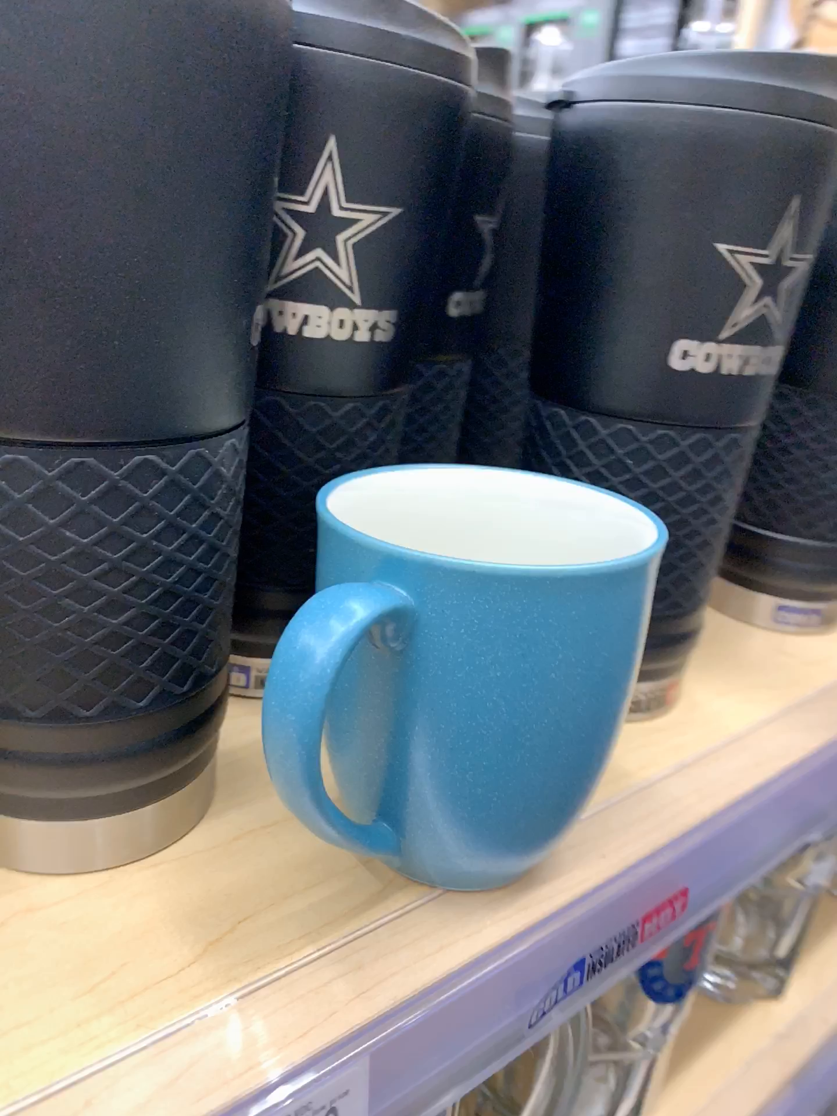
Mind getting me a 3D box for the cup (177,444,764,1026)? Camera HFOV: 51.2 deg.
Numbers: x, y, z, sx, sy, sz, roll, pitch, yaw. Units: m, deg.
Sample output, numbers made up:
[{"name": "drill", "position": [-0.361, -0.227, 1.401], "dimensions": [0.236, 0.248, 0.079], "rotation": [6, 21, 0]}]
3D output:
[{"name": "cup", "position": [0.013, 0.028, 0.226], "dimensions": [0.089, 0.084, 0.116], "rotation": [23, 26, 37]}]
